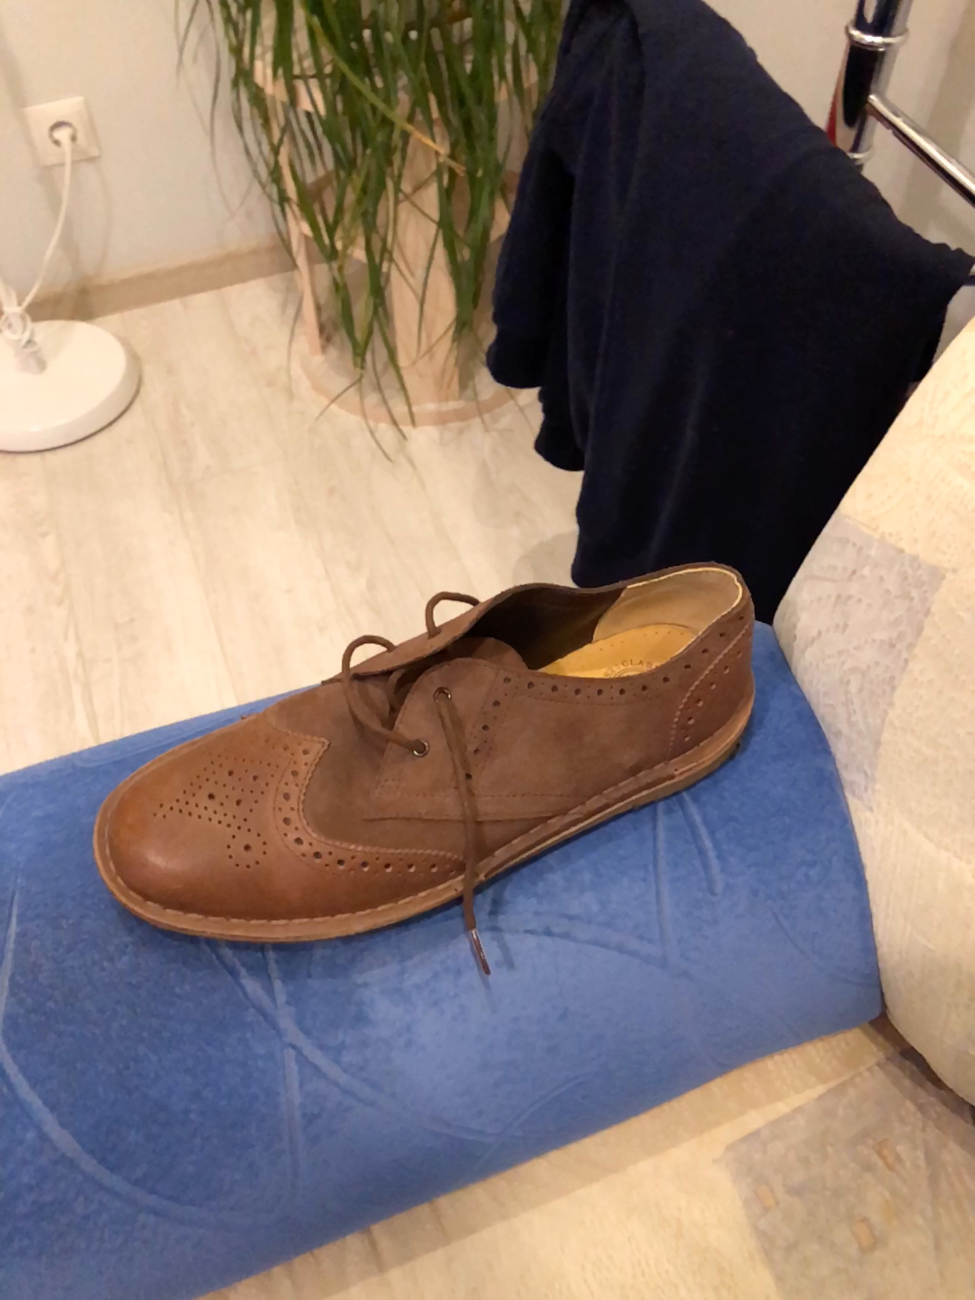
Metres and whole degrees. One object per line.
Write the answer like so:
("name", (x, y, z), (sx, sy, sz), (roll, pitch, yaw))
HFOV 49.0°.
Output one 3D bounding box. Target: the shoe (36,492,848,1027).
("shoe", (-0.018, 0.040, 0.473), (0.313, 0.089, 0.114), (-18, 54, -13))
